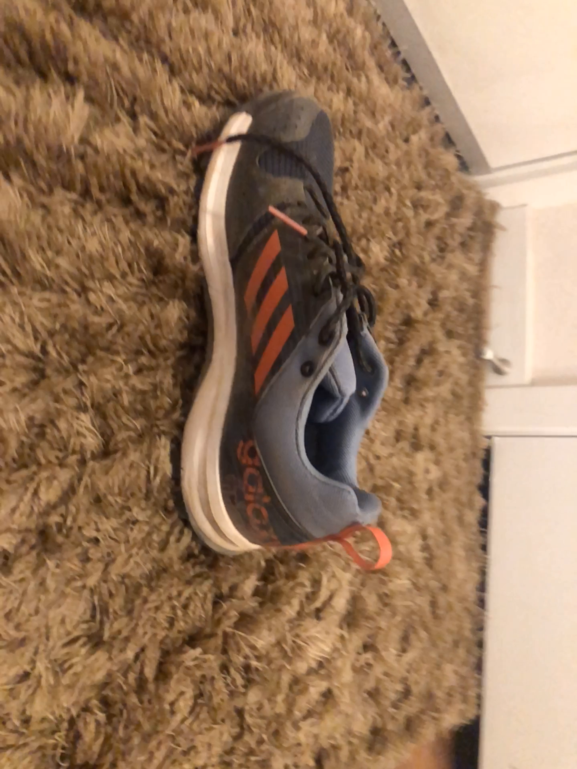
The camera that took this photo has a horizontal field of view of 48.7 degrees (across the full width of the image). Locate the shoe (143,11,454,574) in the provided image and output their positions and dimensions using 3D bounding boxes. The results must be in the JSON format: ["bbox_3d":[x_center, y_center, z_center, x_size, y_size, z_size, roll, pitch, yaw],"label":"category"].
[{"bbox_3d":[0.018,-0.040,0.367,0.114,0.109,0.275,26,66,-55],"label":"shoe"}]
